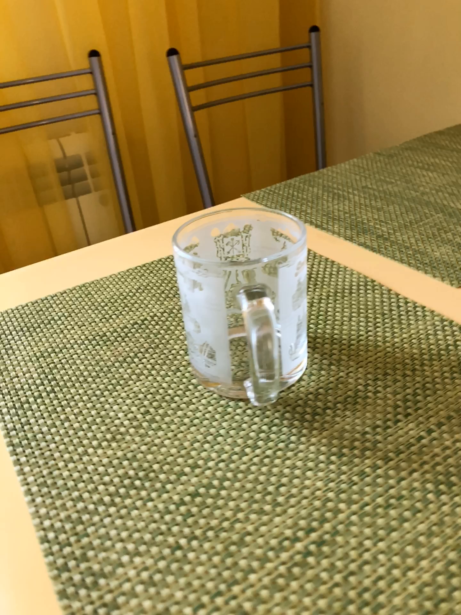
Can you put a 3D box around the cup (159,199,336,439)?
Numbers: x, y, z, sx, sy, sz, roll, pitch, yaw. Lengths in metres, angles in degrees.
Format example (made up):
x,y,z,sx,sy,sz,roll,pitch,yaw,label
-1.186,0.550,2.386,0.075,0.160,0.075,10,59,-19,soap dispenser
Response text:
x,y,z,sx,sy,sz,roll,pitch,yaw,label
0.006,0.002,0.320,0.087,0.096,0.110,-7,32,-3,cup
